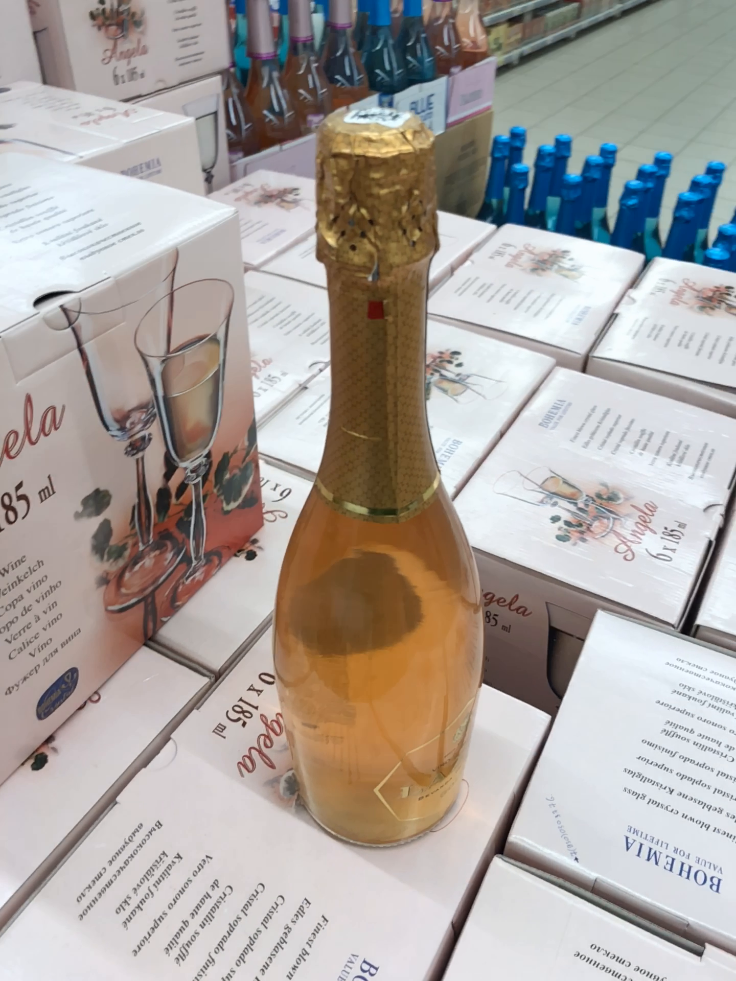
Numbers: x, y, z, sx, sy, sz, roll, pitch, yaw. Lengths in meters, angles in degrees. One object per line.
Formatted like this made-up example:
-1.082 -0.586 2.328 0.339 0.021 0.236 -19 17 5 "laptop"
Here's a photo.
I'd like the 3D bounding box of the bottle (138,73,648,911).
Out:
0.005 0.022 0.307 0.090 0.298 0.100 31 47 31 "bottle"
